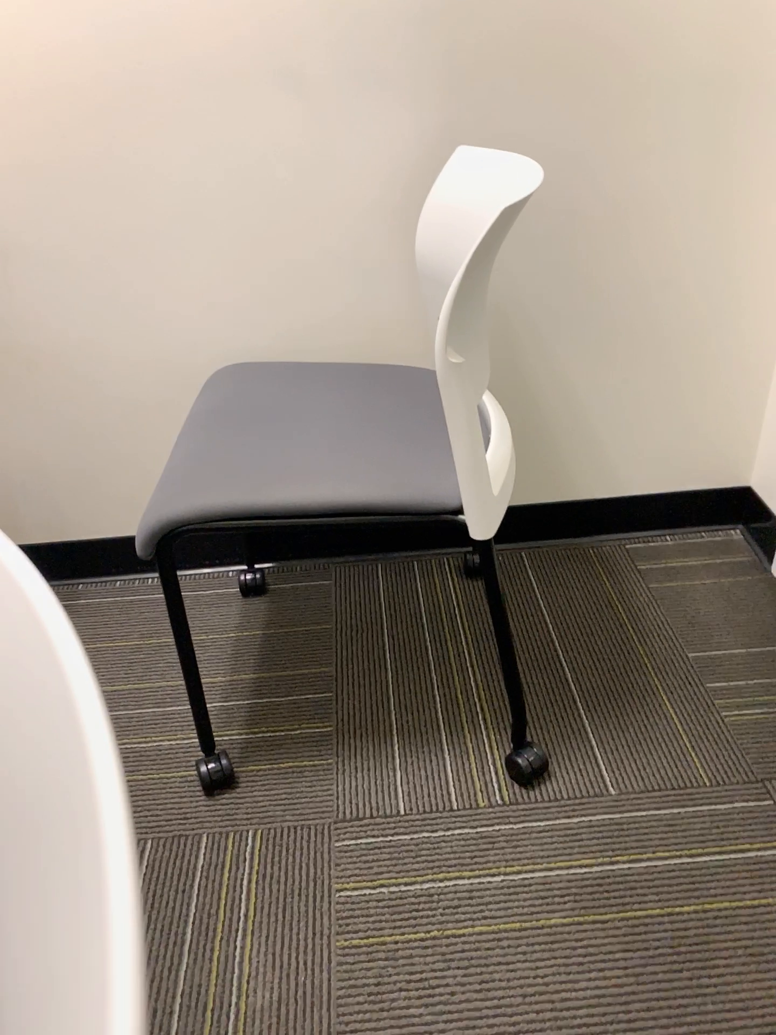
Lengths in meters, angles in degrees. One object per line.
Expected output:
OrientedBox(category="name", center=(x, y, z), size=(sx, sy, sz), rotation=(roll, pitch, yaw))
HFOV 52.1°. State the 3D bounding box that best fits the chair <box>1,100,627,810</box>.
OrientedBox(category="chair", center=(-0.057, -0.114, 1.149), size=(0.540, 0.805, 0.604), rotation=(-4, 31, -1))
